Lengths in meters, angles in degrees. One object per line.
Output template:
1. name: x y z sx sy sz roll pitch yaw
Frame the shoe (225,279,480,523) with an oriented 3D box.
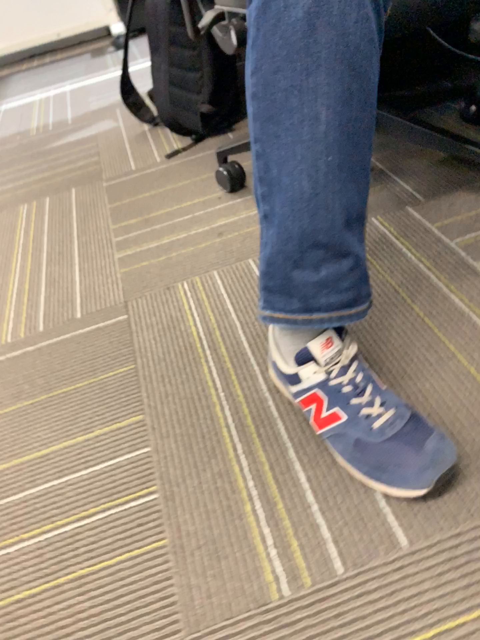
1. shoe: 0.128 0.087 0.644 0.108 0.139 0.308 -35 45 -21
